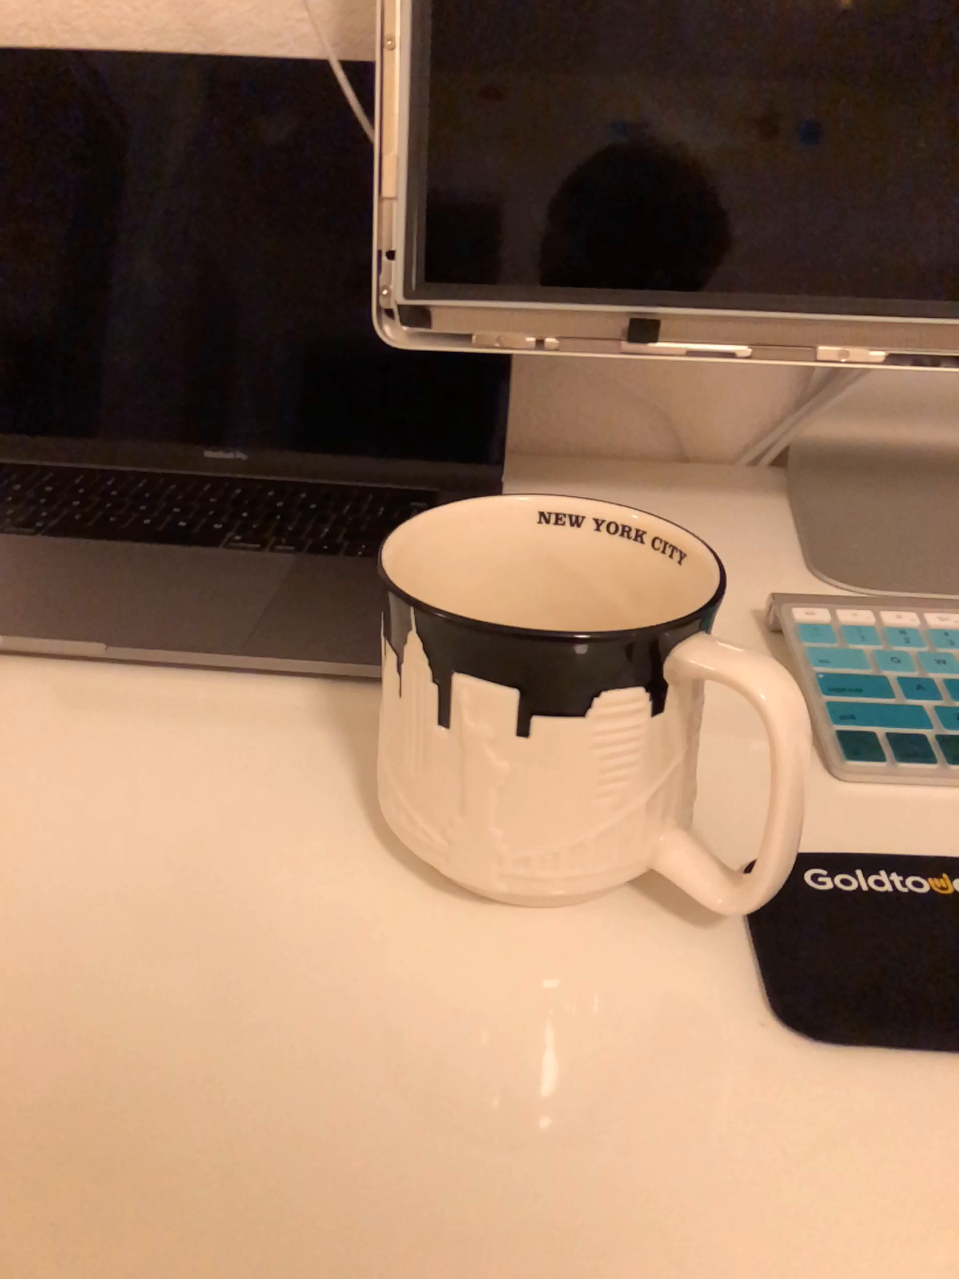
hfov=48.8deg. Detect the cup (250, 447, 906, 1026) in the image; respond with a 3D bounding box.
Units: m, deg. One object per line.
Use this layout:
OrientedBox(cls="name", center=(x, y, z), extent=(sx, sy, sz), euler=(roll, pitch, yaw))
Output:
OrientedBox(cls="cup", center=(0.028, 0.014, 0.319), extent=(0.150, 0.089, 0.110), euler=(19, 33, 29))
